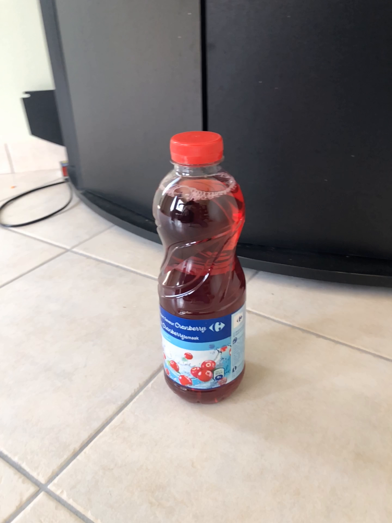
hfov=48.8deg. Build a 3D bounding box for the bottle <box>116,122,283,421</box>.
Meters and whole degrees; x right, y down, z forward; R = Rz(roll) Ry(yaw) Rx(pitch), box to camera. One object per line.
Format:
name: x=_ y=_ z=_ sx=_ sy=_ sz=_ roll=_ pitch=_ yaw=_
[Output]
bottle: x=0.009 y=0.009 z=0.396 sx=0.090 sy=0.239 sz=0.101 roll=17 pitch=34 yaw=30
